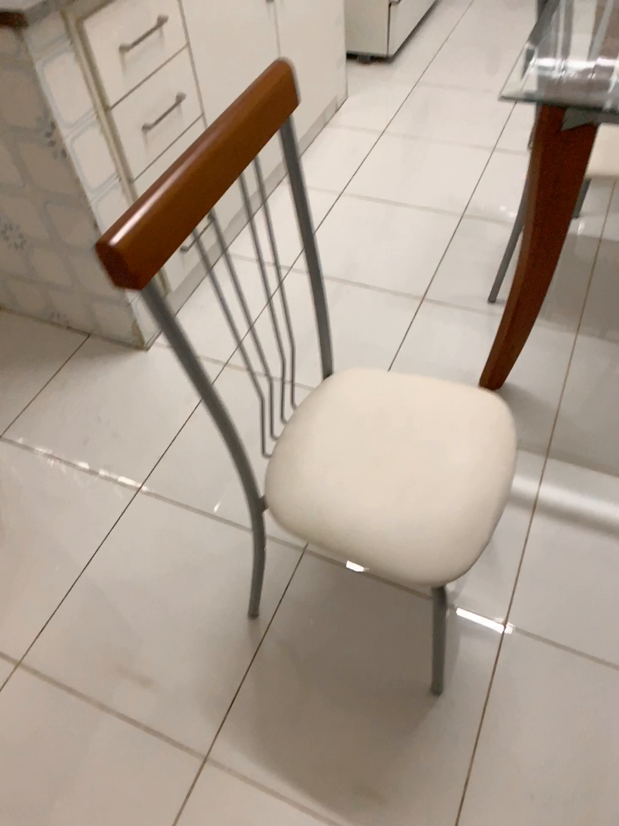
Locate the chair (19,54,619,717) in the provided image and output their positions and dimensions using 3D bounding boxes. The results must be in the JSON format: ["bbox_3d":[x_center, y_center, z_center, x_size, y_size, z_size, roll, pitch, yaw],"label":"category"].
[{"bbox_3d":[0.083,0.026,1.003,0.511,0.886,0.482,17,55,18],"label":"chair"}]
